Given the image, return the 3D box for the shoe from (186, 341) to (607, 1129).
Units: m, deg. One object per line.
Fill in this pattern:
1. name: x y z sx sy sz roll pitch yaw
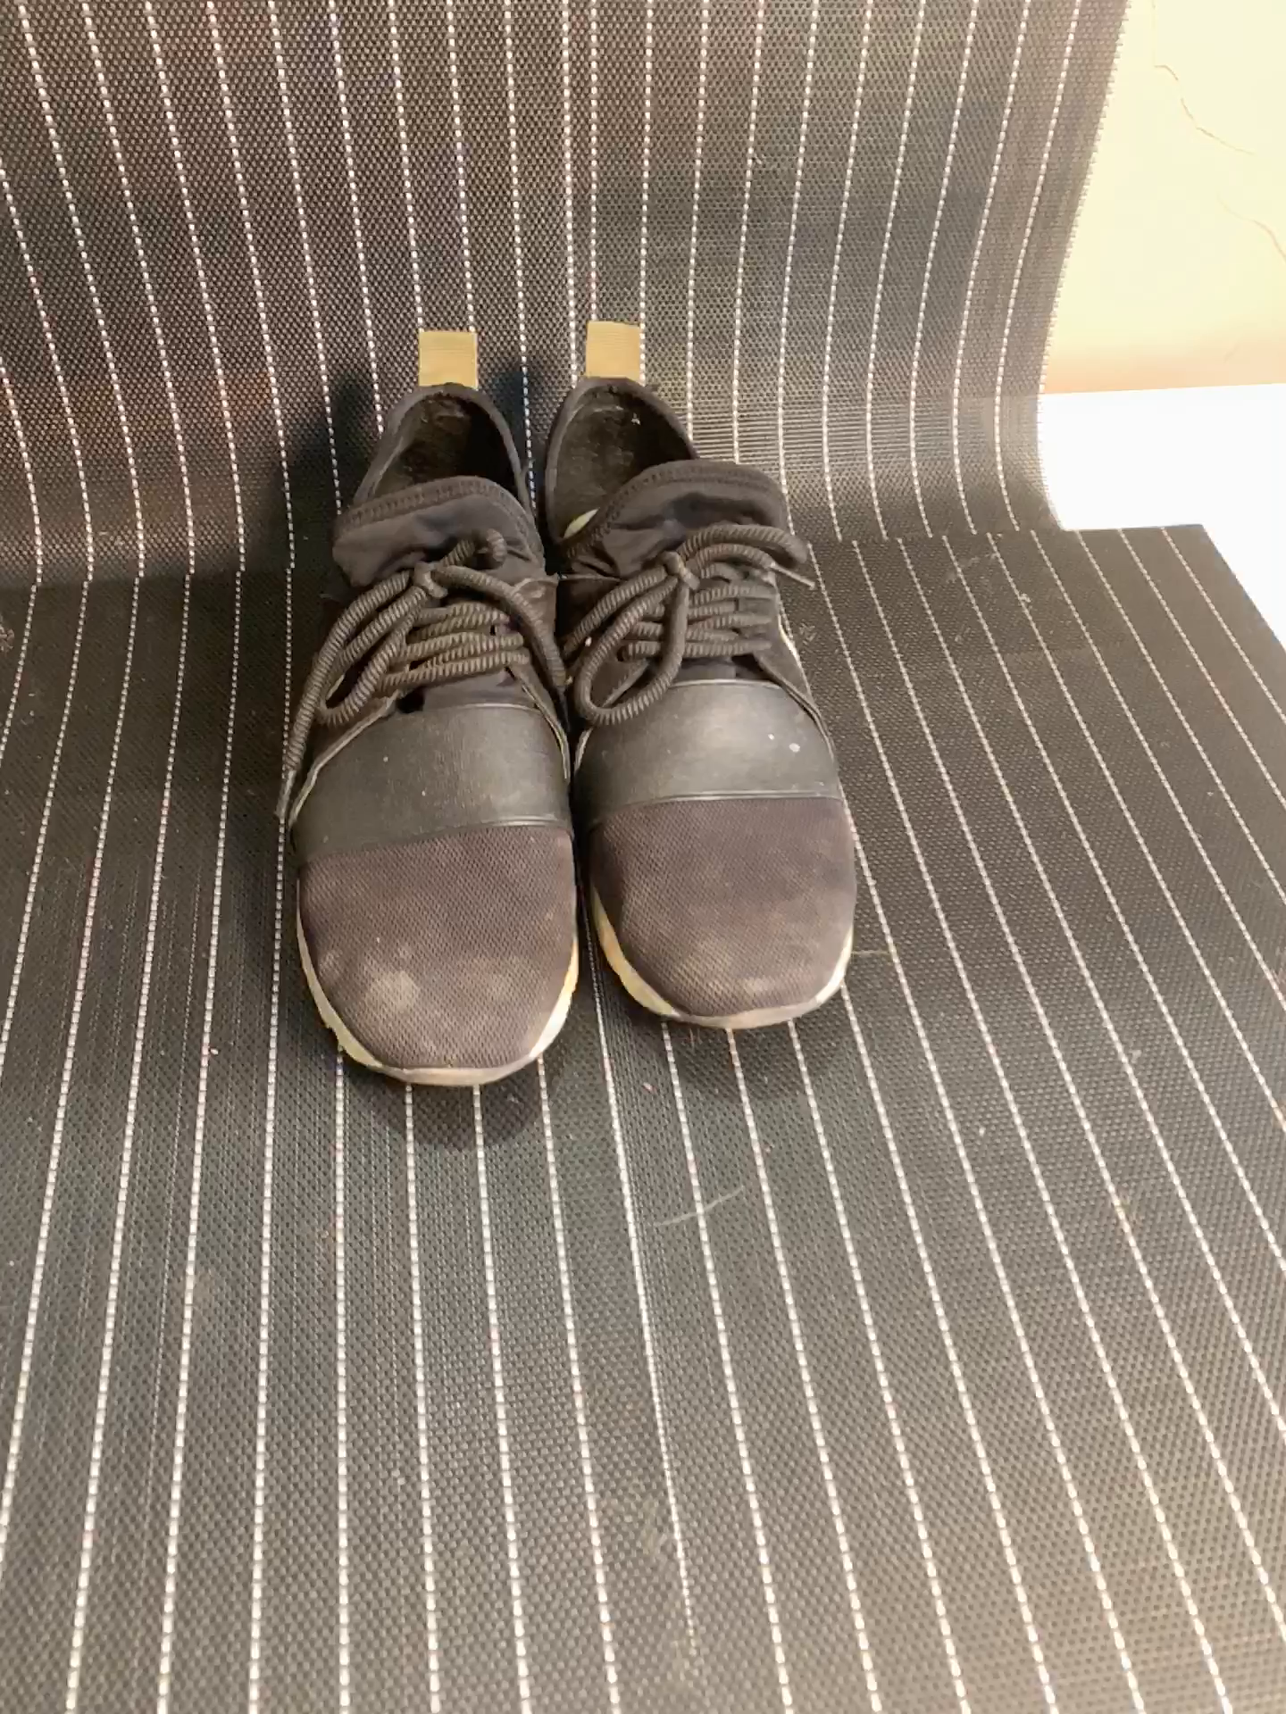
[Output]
1. shoe: -0.076 -0.059 0.436 0.100 0.080 0.281 -3 51 -6

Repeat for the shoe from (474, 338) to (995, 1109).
1. shoe: 0.012 -0.065 0.464 0.100 0.090 0.281 -8 51 -10
